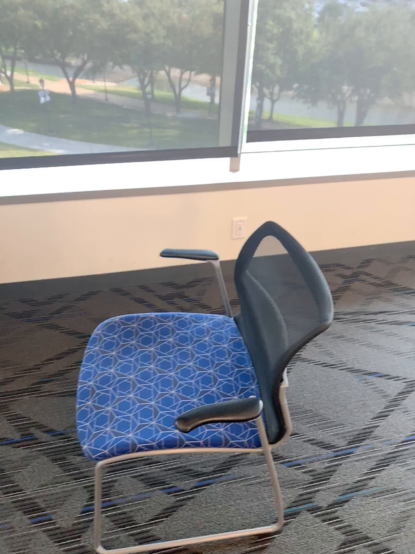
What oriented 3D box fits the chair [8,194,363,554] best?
[{"bbox_3d":[-0.071,0.254,1.128,0.580,0.763,0.535,-3,36,-8],"label":"chair"}]
